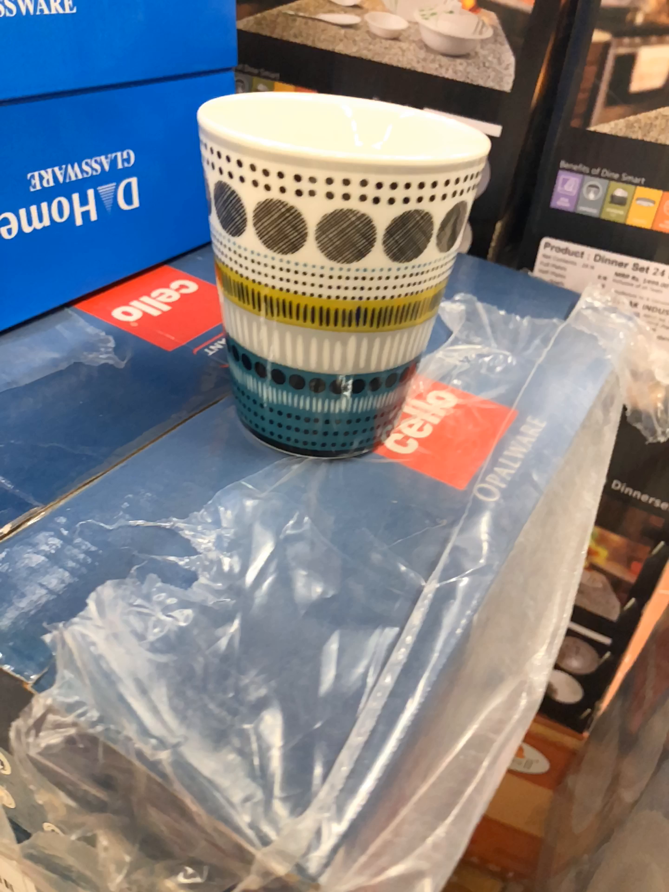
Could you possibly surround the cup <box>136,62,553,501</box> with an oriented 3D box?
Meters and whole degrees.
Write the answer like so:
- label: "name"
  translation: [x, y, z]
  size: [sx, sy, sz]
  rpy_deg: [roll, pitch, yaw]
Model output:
- label: "cup"
  translation: [0.007, -0.065, 0.253]
  size: [0.090, 0.089, 0.121]
  rpy_deg: [20, 37, 13]
